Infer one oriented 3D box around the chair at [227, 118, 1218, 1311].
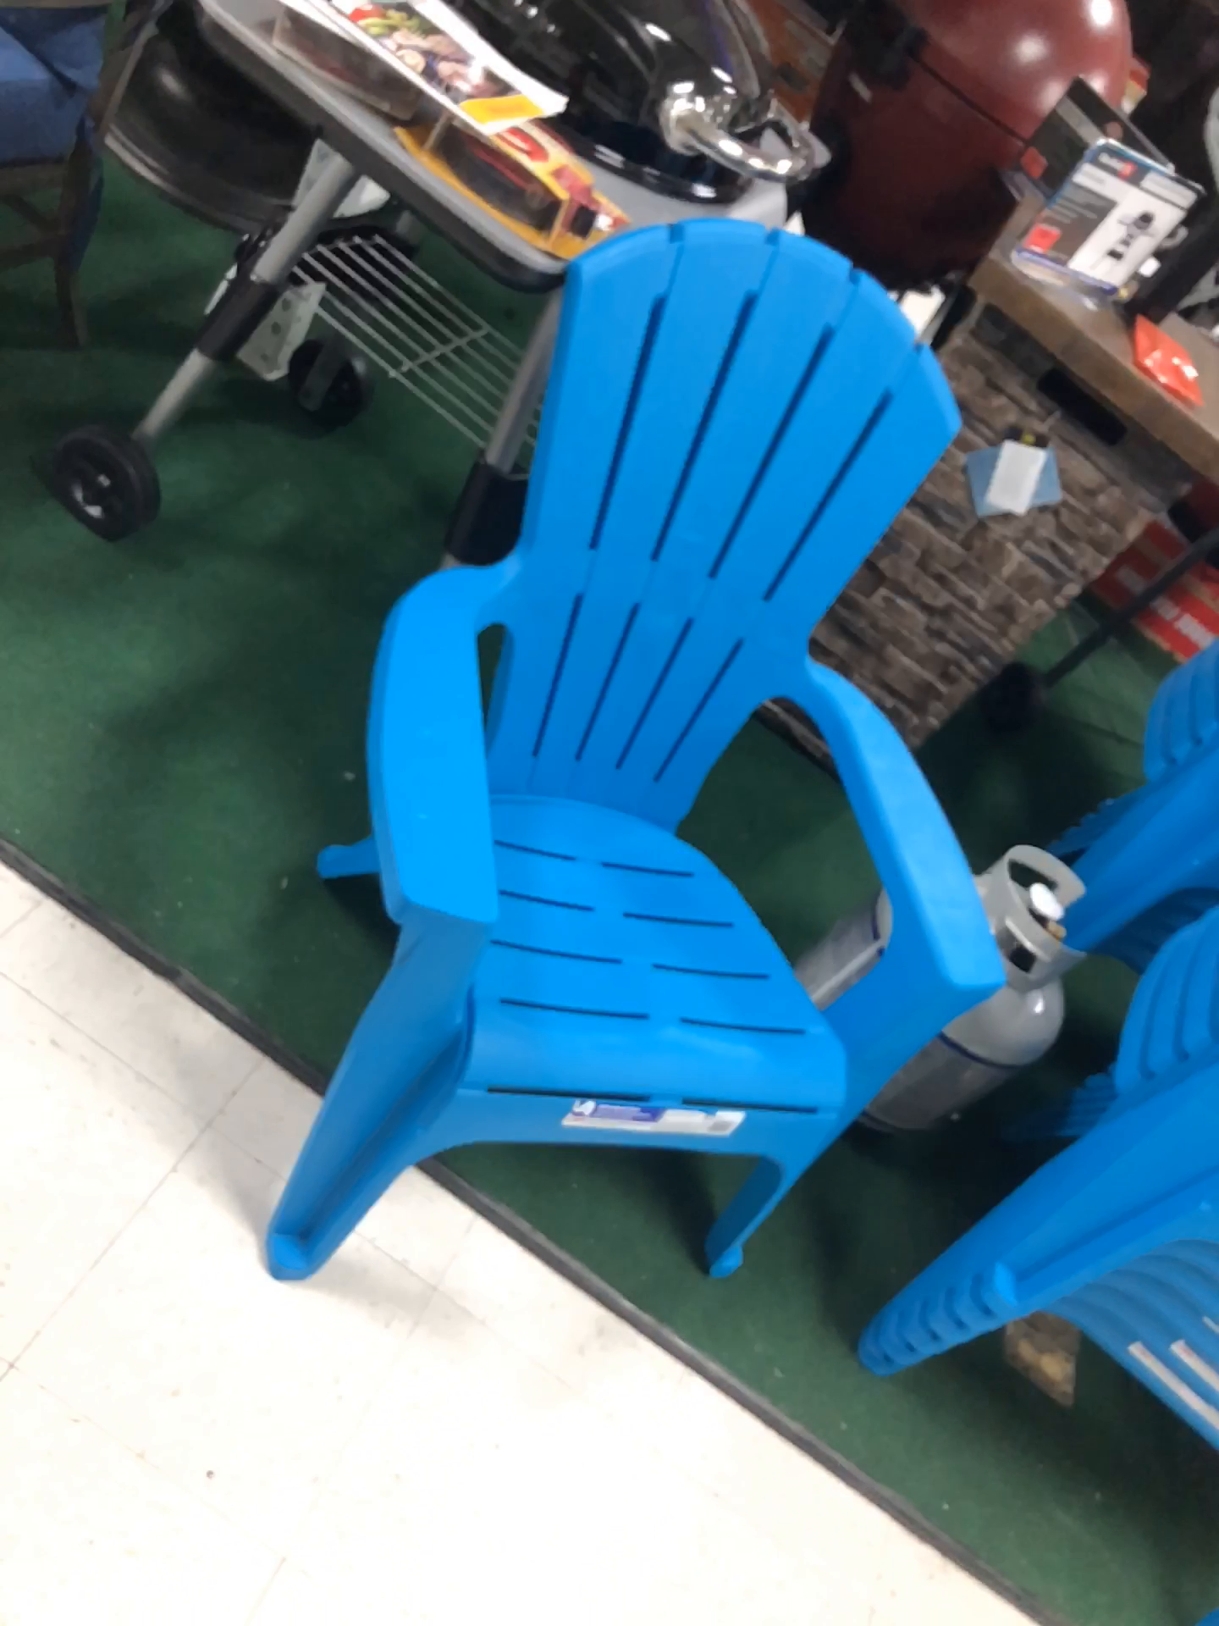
[{"bbox_3d":[0.097,0.014,1.397,0.684,0.931,0.648,11,48,-30],"label":"chair"}]
